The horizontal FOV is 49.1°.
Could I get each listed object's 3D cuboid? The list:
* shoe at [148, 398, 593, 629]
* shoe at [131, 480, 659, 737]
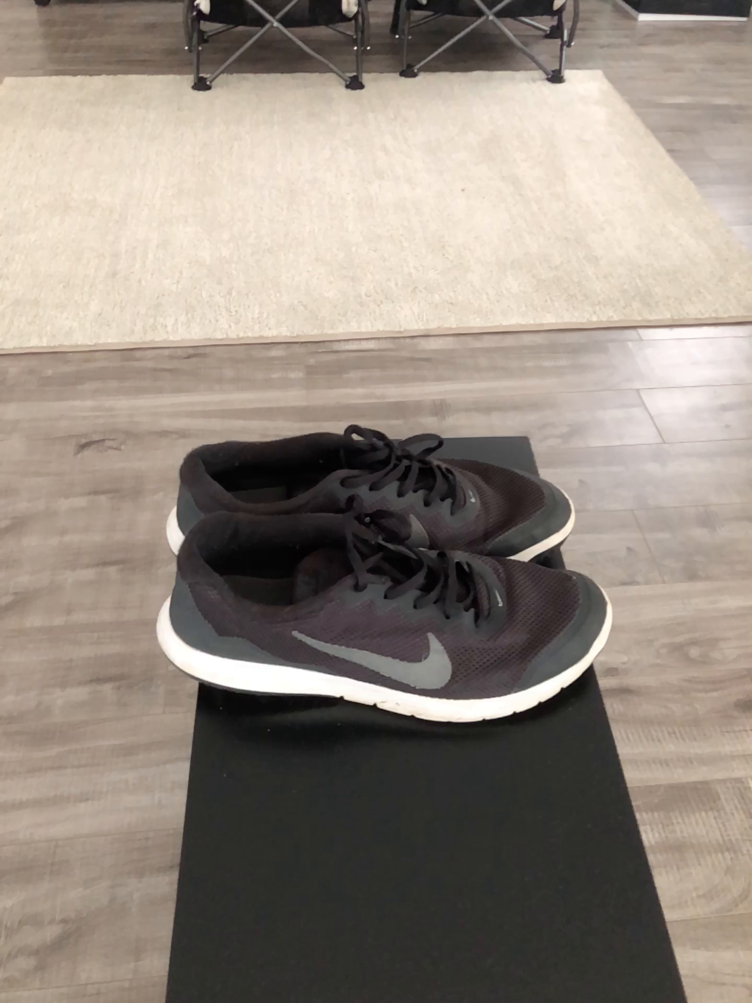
[{"bbox_3d":[-0.008,0.007,0.592,0.280,0.110,0.110,-2,46,-6],"label":"shoe"},{"bbox_3d":[0.008,0.067,0.508,0.280,0.100,0.110,2,45,-4],"label":"shoe"}]
